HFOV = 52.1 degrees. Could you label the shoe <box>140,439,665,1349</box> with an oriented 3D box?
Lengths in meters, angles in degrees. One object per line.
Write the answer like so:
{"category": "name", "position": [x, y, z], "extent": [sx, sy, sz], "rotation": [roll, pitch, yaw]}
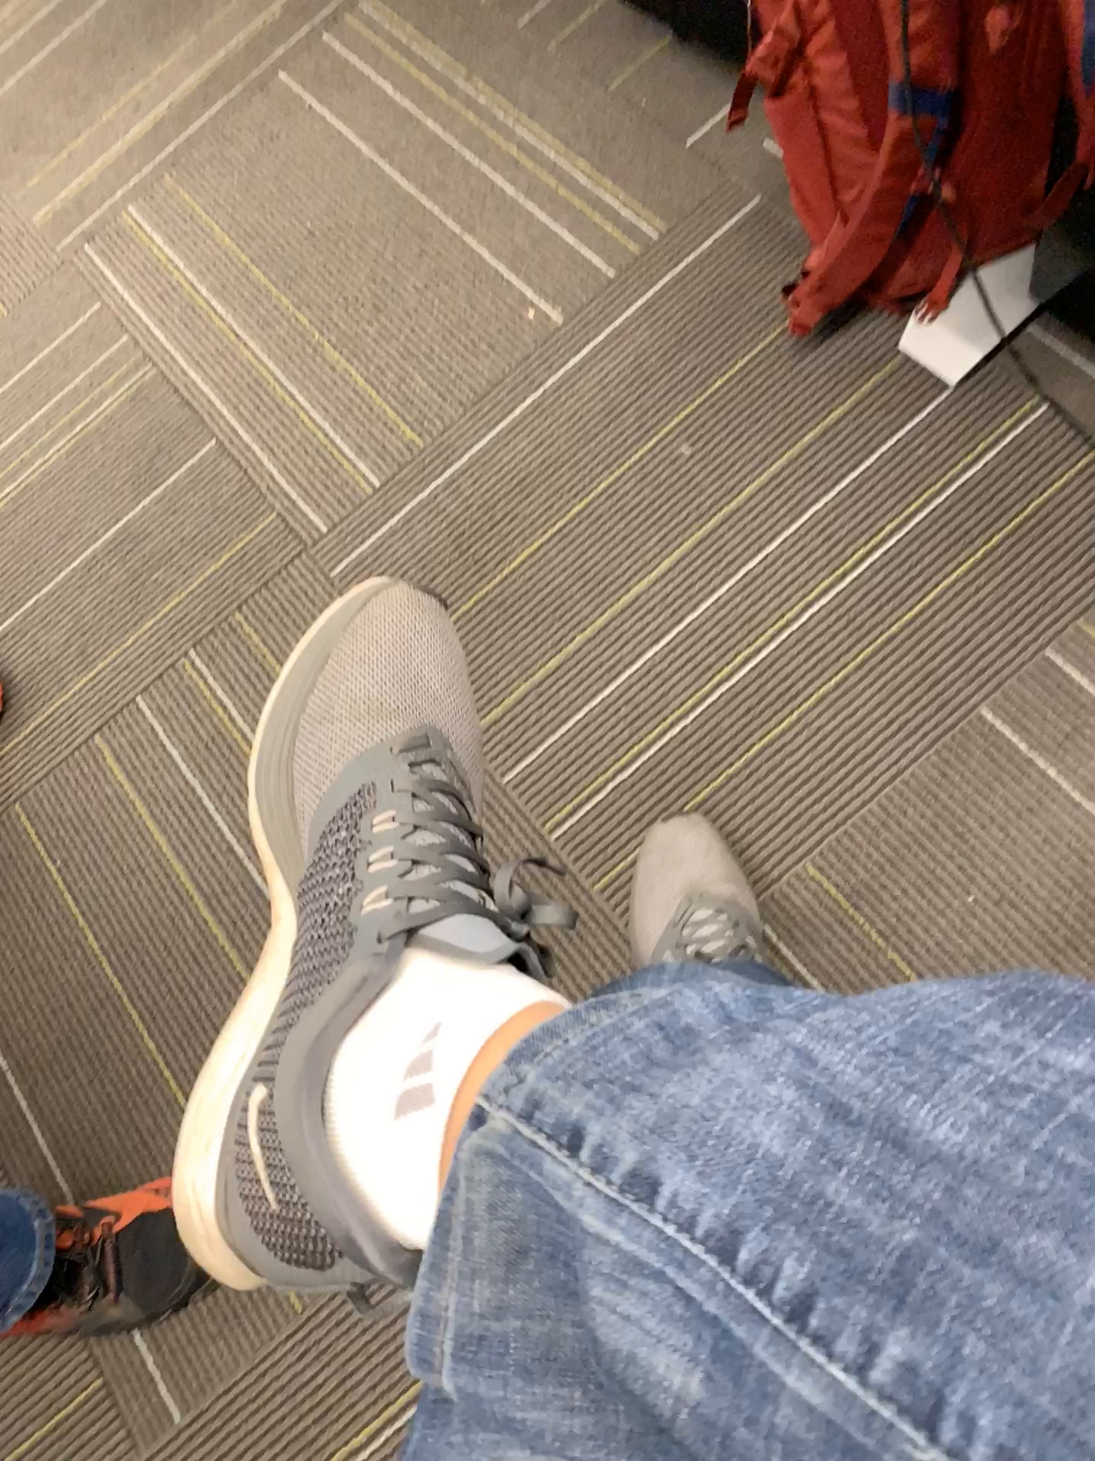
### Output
{"category": "shoe", "position": [-0.049, 0.063, 0.442], "extent": [0.142, 0.115, 0.295], "rotation": [-20, 59, 46]}

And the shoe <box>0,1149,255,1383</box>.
{"category": "shoe", "position": [-0.424, 0.483, 1.010], "extent": [0.276, 0.117, 0.112], "rotation": [-18, 59, 3]}

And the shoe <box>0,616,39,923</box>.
{"category": "shoe", "position": [-0.699, 0.037, 1.195], "extent": [0.113, 0.108, 0.294], "rotation": [18, 71, 41]}

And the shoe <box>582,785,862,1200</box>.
{"category": "shoe", "position": [0.137, 0.206, 0.904], "extent": [0.117, 0.074, 0.293], "rotation": [-23, 67, 8]}
